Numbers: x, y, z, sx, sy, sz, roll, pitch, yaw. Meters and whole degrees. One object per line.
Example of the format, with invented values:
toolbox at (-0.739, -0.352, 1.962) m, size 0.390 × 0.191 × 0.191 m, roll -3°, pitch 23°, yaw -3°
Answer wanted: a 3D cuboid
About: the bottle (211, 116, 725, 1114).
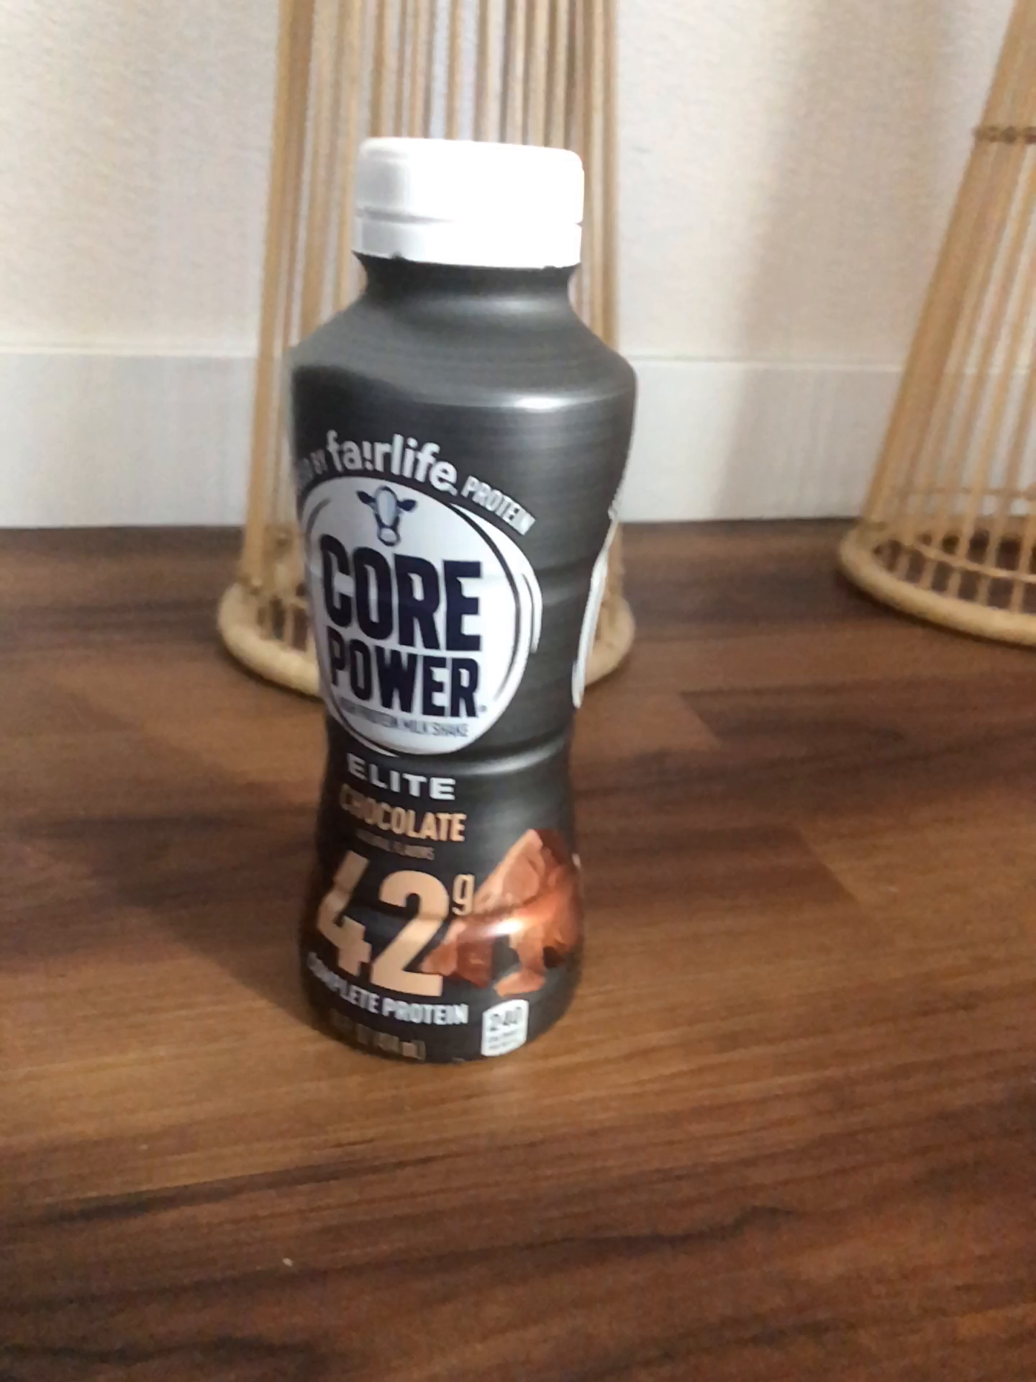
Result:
bottle at (-0.010, -0.015, 0.244) m, size 0.070 × 0.184 × 0.070 m, roll 3°, pitch 24°, yaw -1°
